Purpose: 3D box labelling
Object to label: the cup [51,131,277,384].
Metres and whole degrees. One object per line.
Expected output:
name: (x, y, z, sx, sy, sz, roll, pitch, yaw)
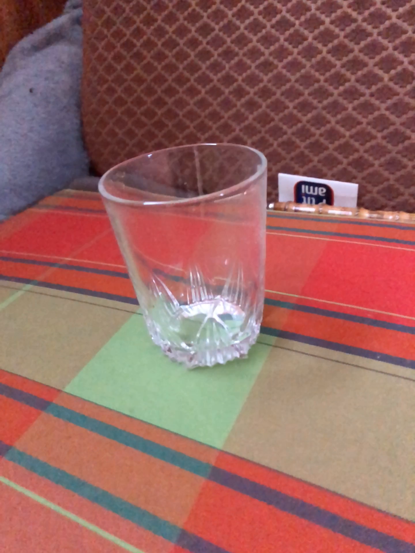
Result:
cup: (-0.009, -0.009, 0.202, 0.070, 0.080, 0.070, -8, 33, 5)
